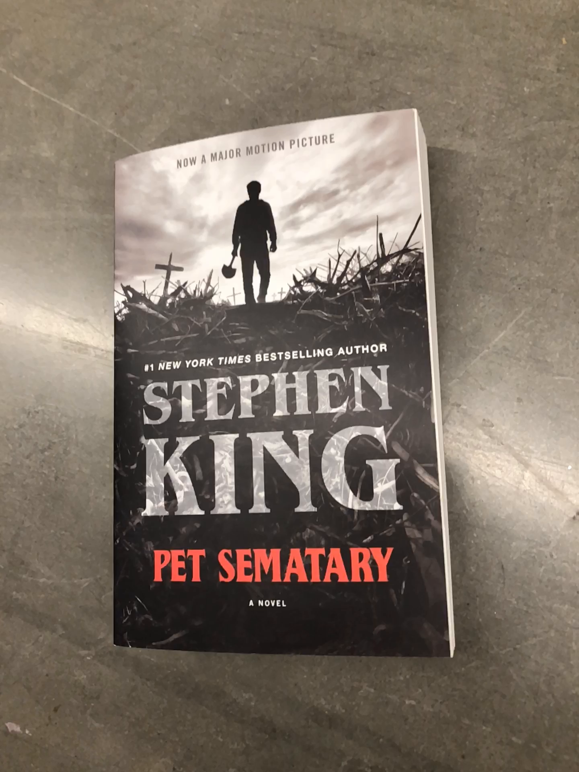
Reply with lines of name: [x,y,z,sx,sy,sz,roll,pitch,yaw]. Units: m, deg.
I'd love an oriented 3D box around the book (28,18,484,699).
book: [-0.014,-0.008,0.249,0.160,0.050,0.220,-2,87,13]
